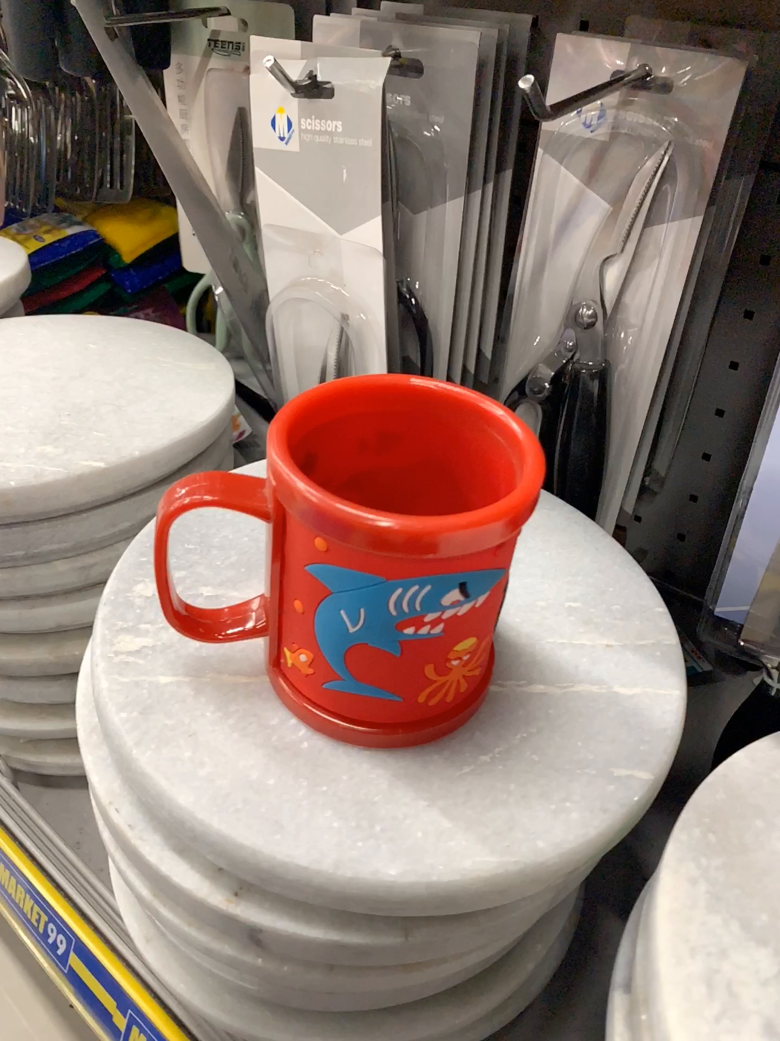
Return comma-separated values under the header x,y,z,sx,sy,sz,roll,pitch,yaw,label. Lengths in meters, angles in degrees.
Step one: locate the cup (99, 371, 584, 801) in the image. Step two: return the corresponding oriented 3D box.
x,y,z,sx,sy,sz,roll,pitch,yaw,label
-0.018,0.018,0.259,0.120,0.100,0.080,-4,36,-9,cup
